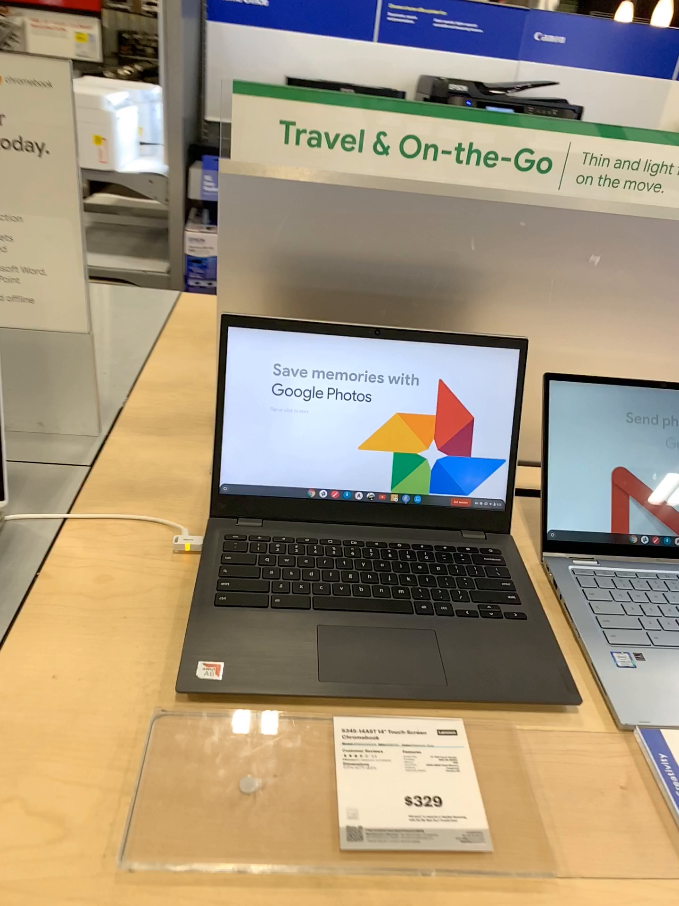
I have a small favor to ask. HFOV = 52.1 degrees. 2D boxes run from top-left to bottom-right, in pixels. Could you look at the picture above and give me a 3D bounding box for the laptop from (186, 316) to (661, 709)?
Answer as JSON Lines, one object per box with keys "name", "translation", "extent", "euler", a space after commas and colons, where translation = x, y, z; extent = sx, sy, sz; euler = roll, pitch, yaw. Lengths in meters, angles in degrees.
{"name": "laptop", "translation": [0.041, 0.033, 0.620], "extent": [0.309, 0.188, 0.300], "euler": [4, 30, -5]}
